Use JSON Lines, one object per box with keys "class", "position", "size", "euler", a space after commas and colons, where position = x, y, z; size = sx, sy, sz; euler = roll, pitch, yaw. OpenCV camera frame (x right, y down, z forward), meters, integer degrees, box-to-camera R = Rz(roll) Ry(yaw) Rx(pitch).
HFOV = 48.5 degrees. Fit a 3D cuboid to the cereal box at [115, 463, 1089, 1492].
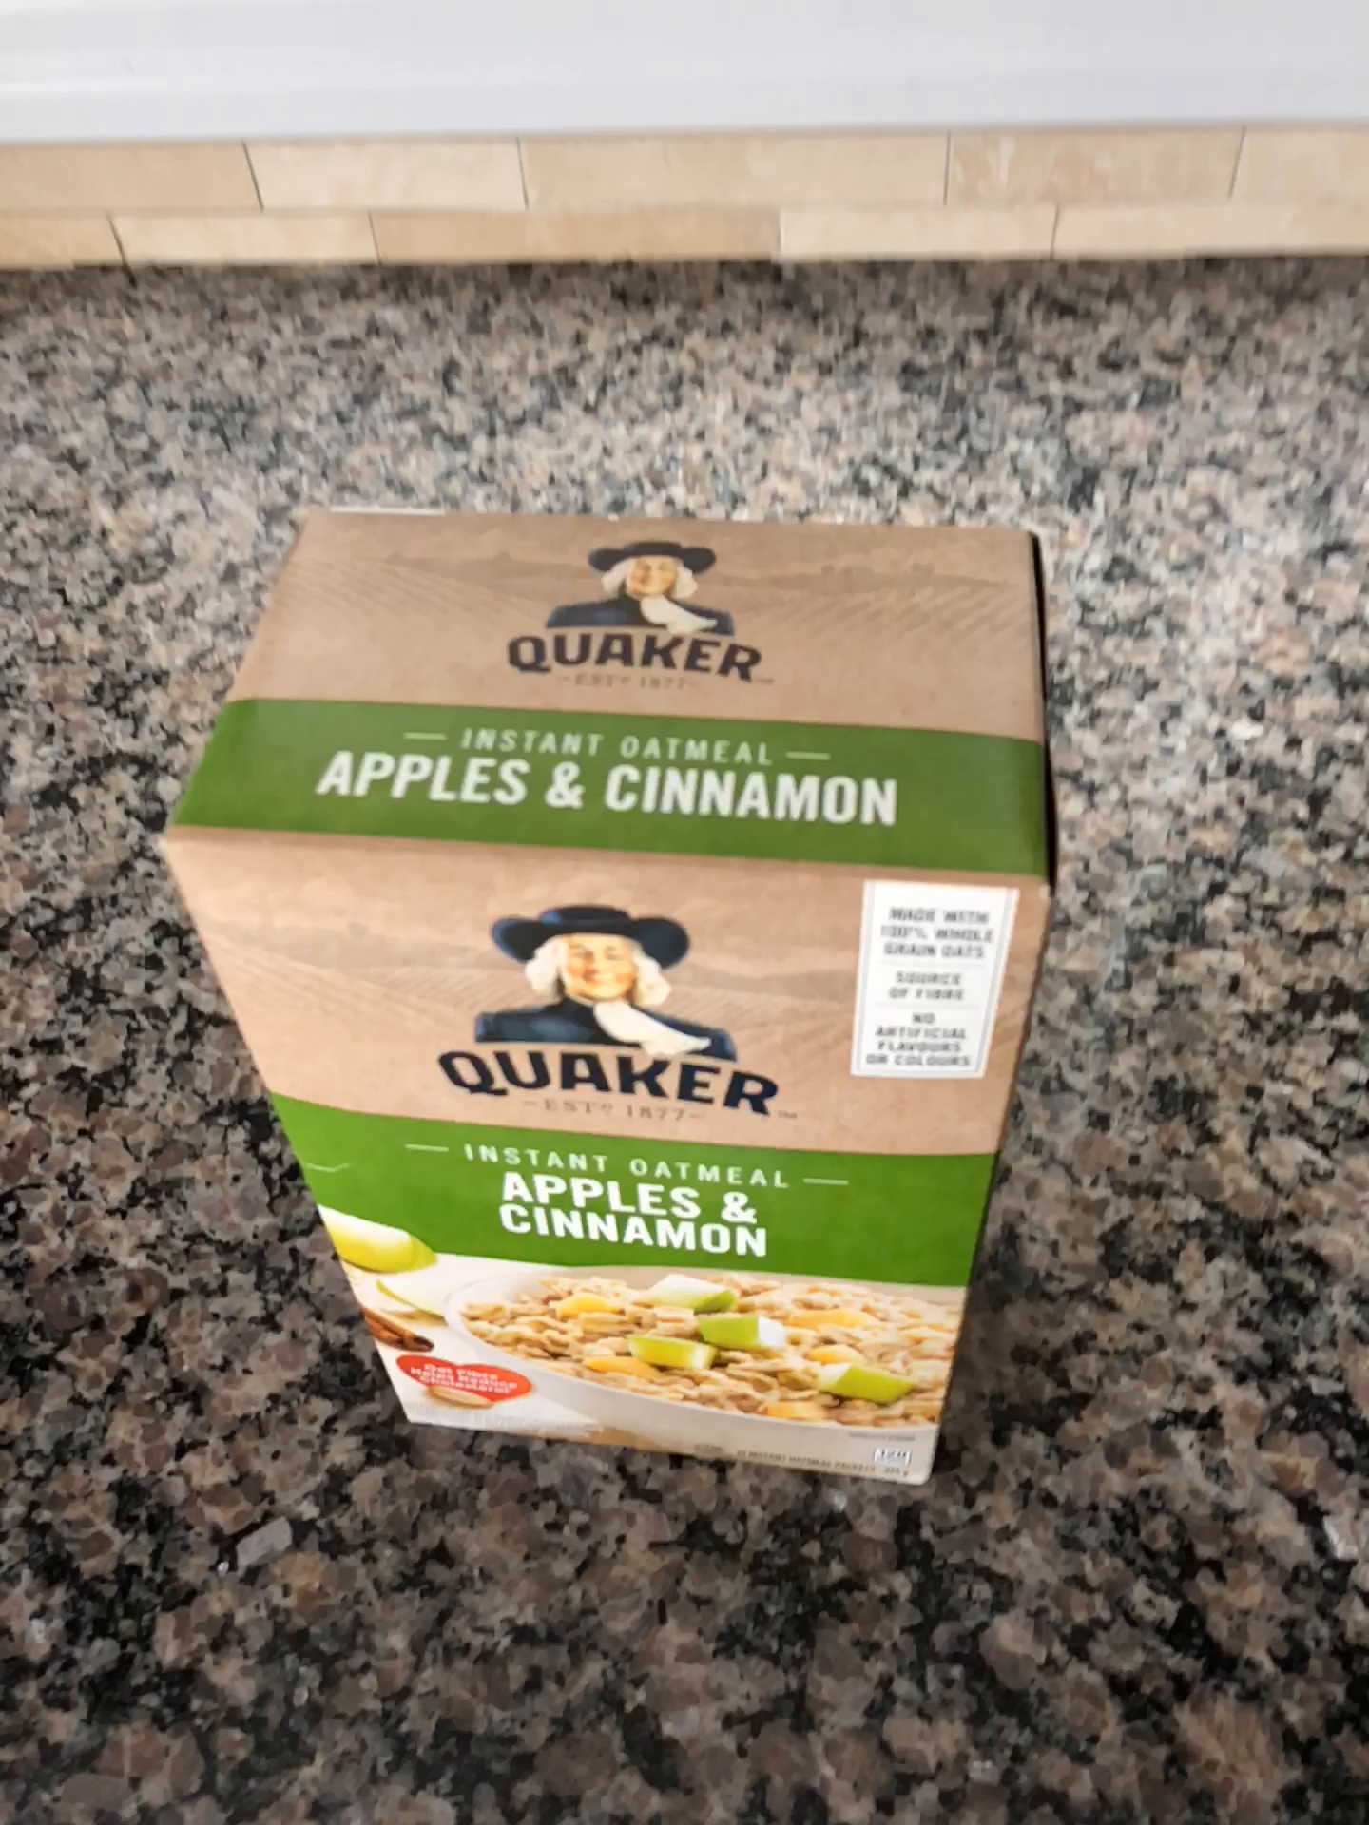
{"class": "cereal box", "position": [-0.002, 0.028, 0.308], "size": [0.130, 0.209, 0.090], "euler": [4, 51, 7]}
